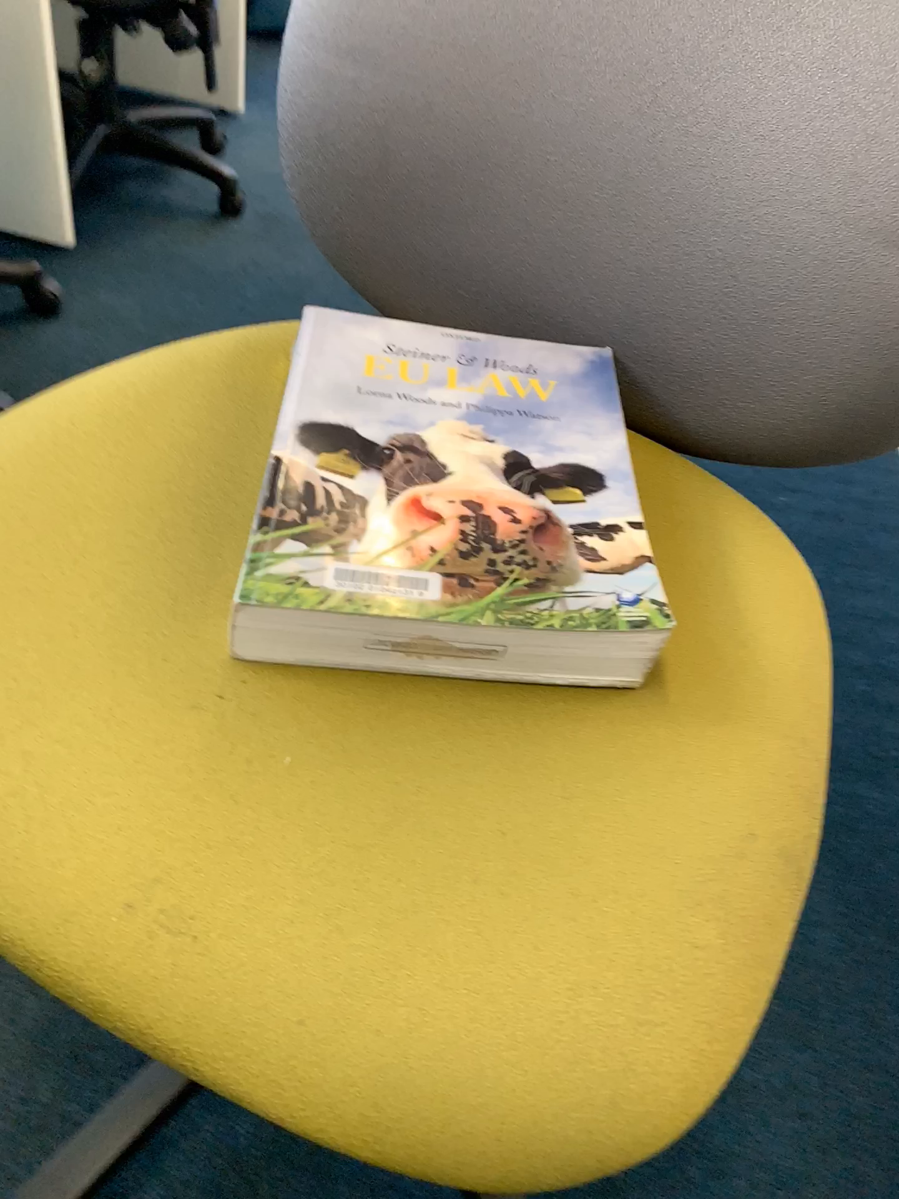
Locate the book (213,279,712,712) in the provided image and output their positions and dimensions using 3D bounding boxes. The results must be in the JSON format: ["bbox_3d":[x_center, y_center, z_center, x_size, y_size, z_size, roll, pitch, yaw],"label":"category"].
[{"bbox_3d":[0.002,-0.069,0.475,0.200,0.050,0.263,6,43,-7],"label":"book"}]
